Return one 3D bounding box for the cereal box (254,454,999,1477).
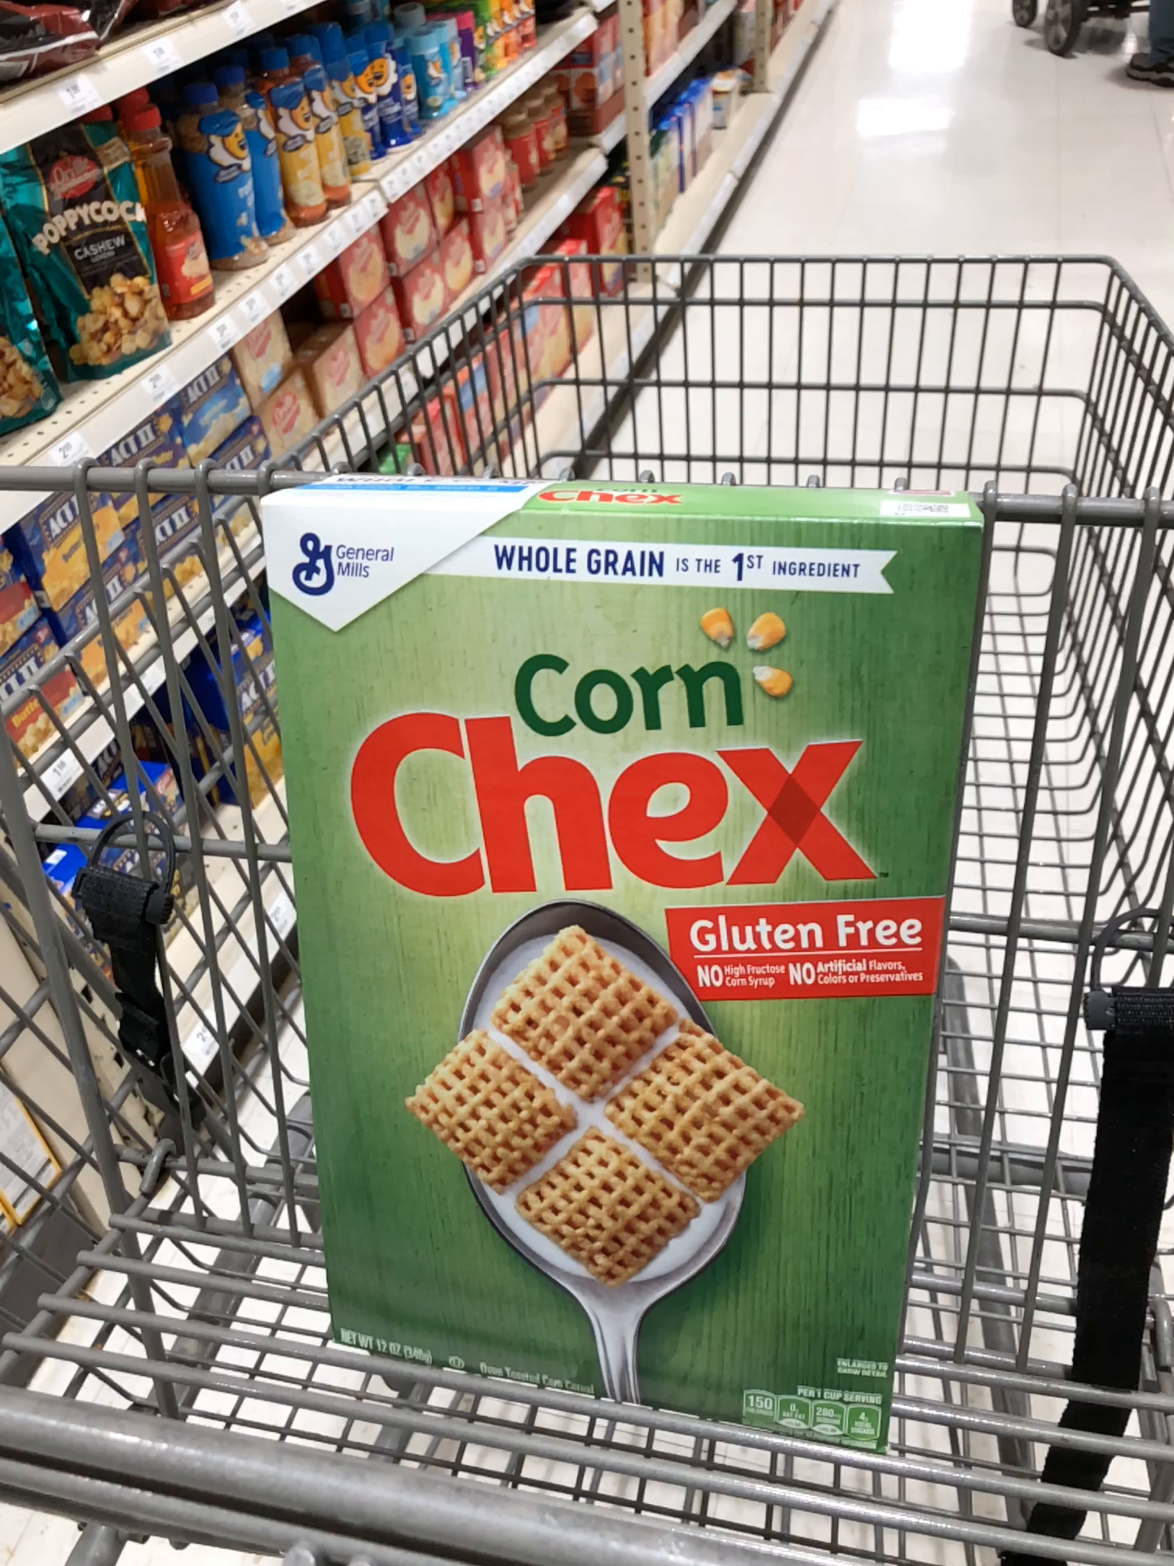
[{"bbox_3d":[0.011,0.058,0.417,0.200,0.310,0.060,5,20,14],"label":"cereal box"}]
